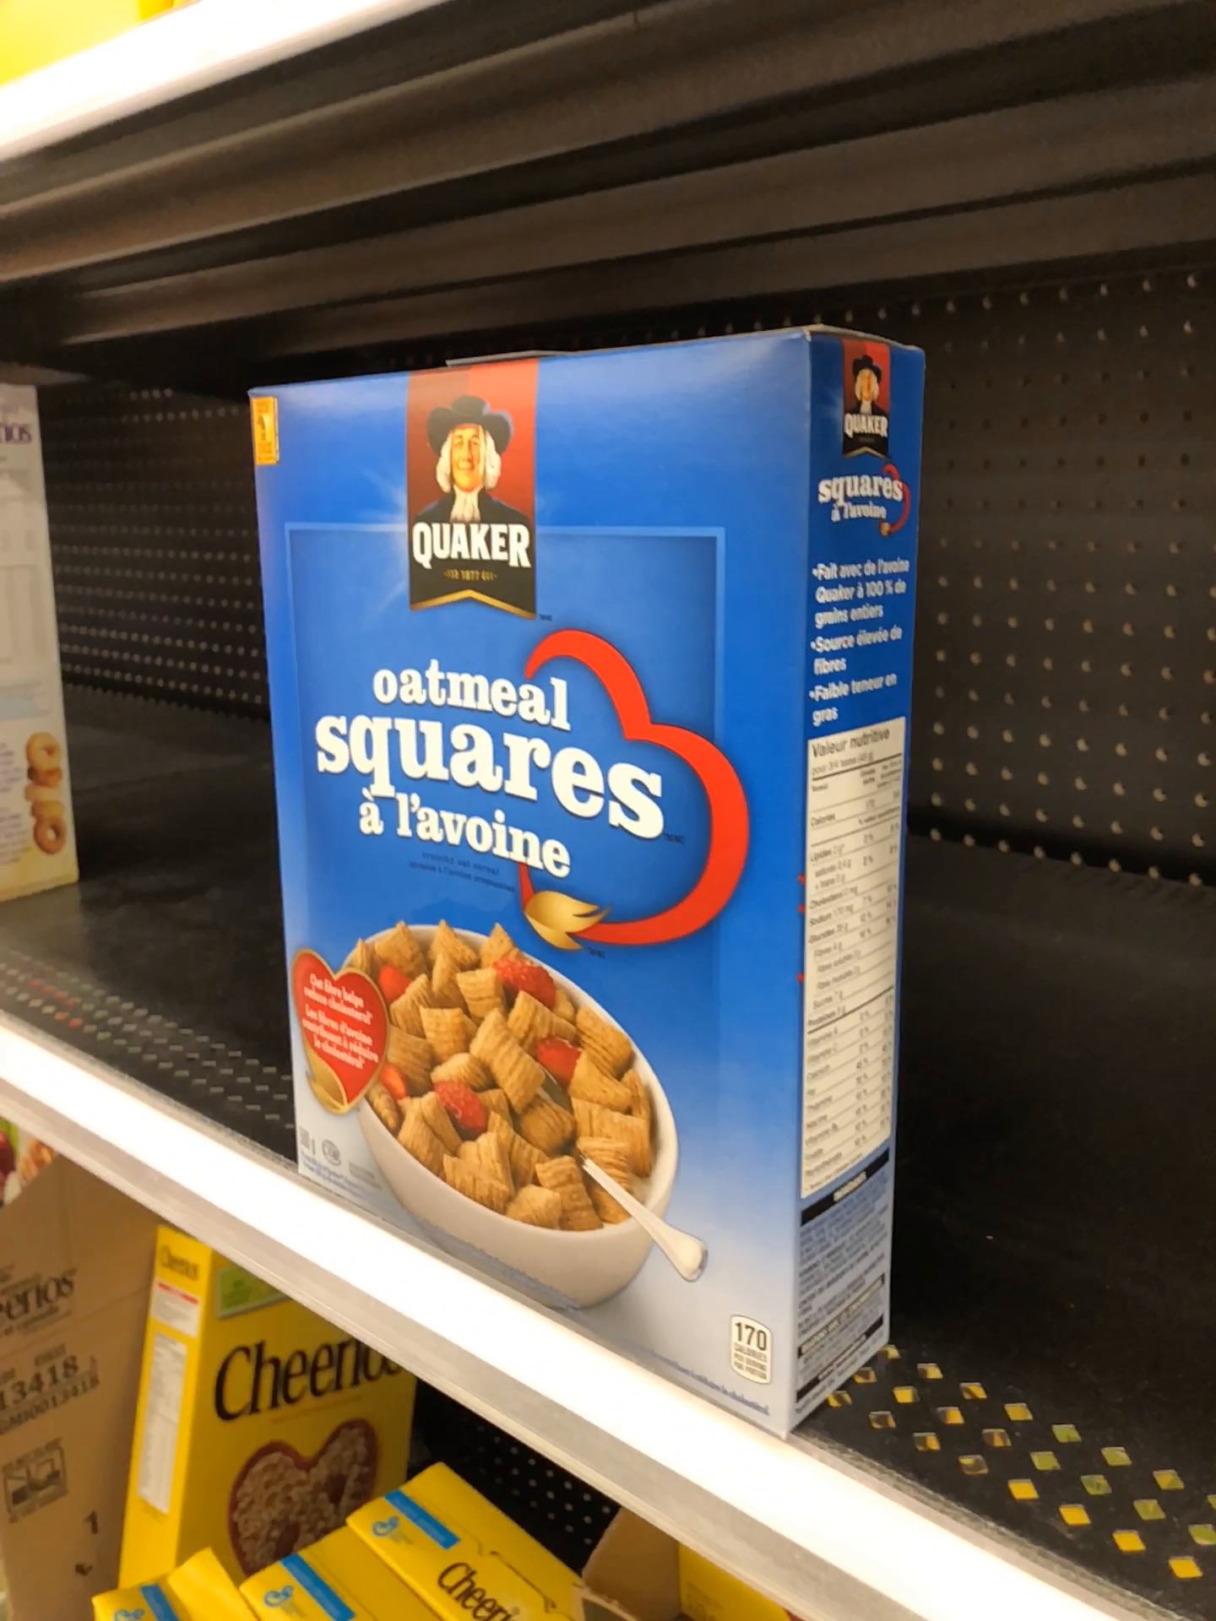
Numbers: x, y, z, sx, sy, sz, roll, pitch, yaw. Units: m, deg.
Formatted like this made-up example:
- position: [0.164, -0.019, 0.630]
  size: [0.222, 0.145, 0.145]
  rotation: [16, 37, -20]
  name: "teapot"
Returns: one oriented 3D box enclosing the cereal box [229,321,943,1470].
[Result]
- position: [-0.016, 0.012, 0.403]
  size: [0.210, 0.279, 0.060]
  rotation: [11, 17, 40]
  name: "cereal box"
